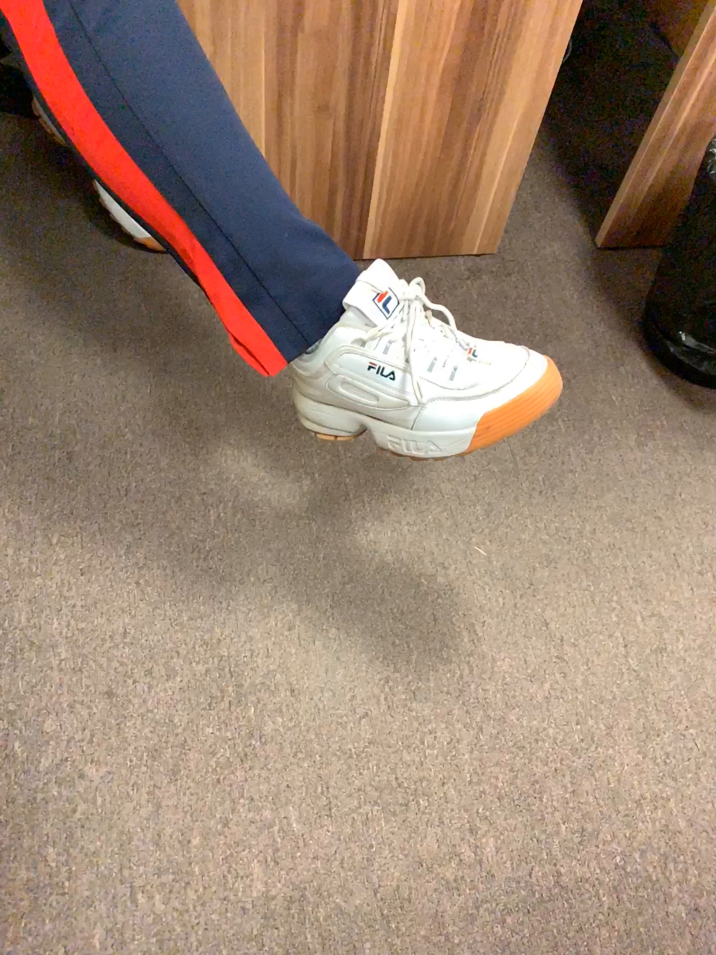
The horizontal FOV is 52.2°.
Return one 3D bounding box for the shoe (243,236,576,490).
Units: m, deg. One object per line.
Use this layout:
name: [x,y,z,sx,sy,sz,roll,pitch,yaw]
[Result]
shoe: [0.048,-0.106,0.618,0.230,0.130,0.130,15,47,28]
